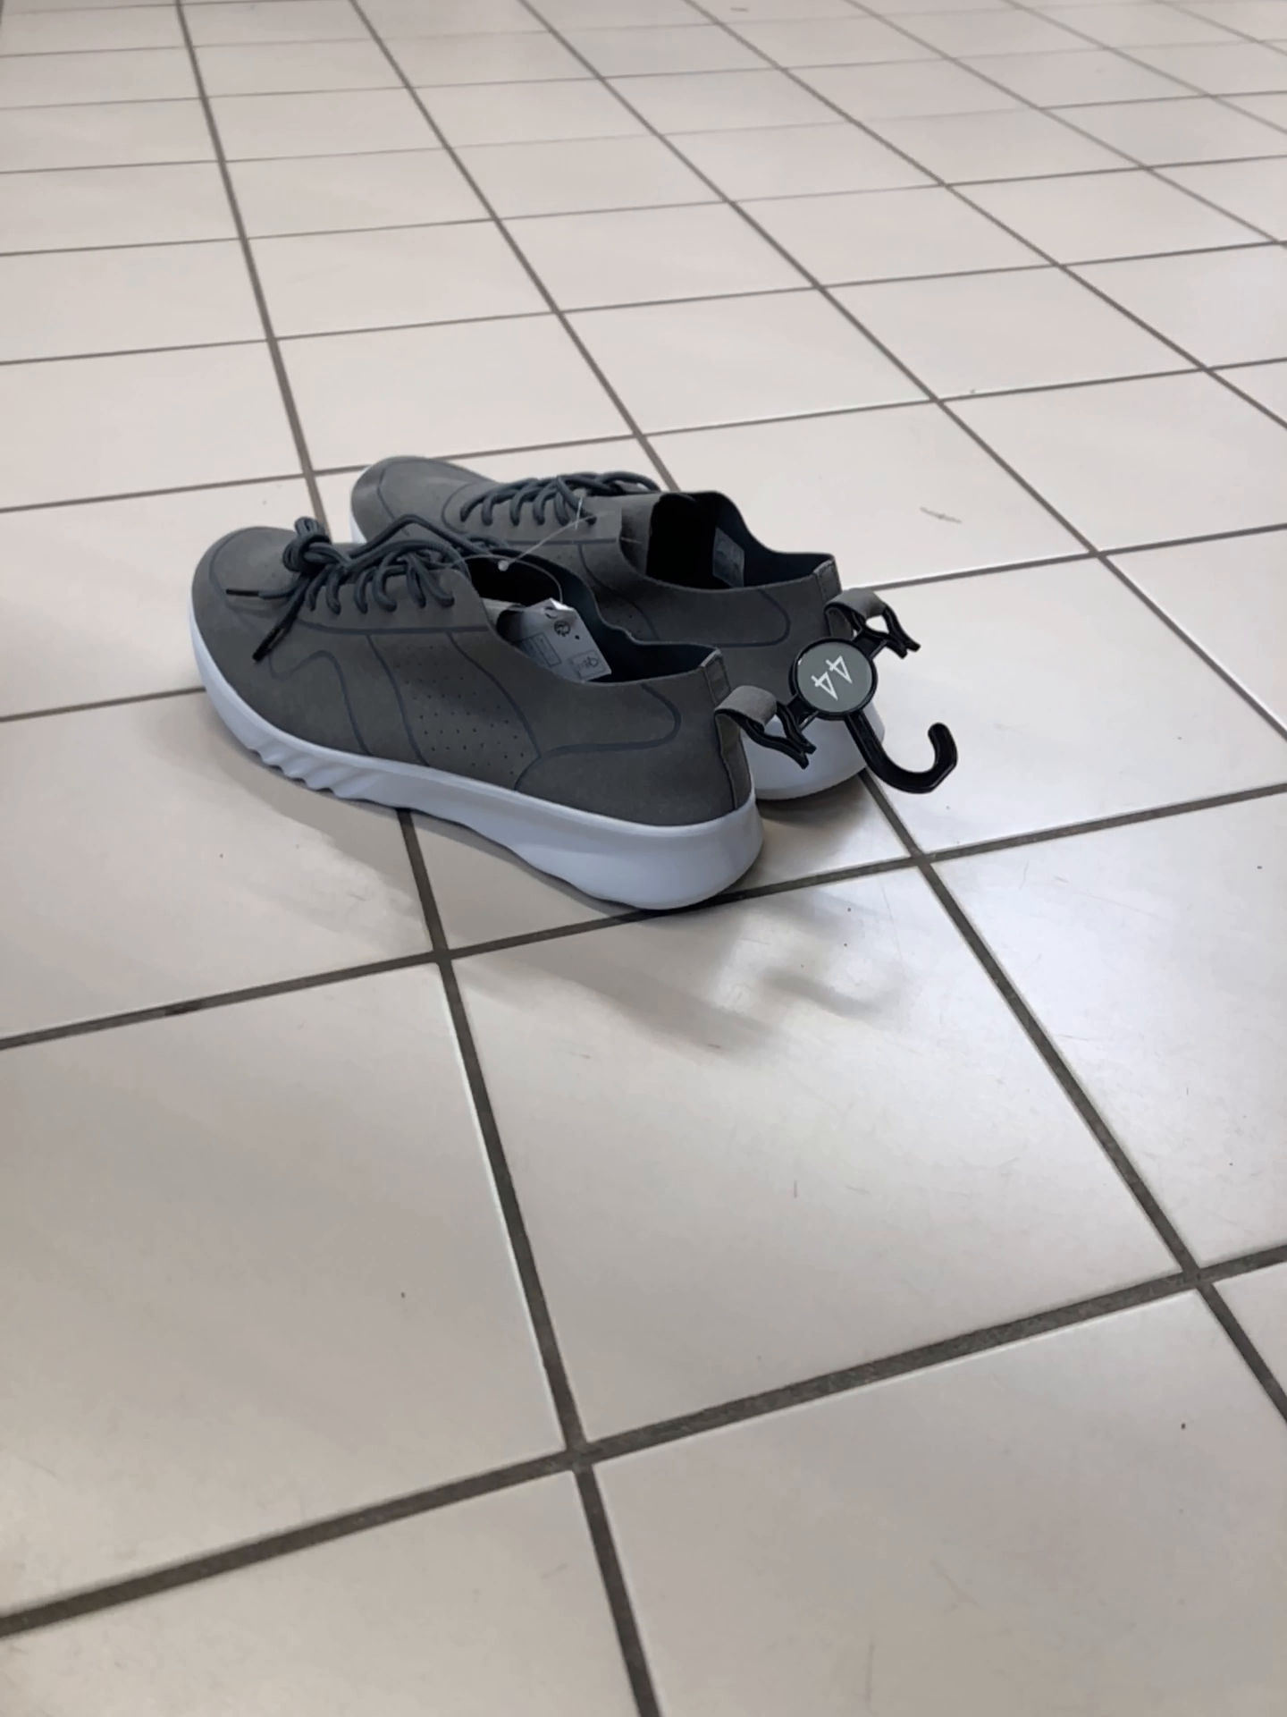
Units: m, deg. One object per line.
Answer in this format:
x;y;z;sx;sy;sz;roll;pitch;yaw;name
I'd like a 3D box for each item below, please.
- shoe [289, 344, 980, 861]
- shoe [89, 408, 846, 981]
-0.013;-0.127;0.635;0.290;0.099;0.111;29;49;27;shoe
-0.076;-0.080;0.580;0.290;0.099;0.111;26;47;25;shoe
